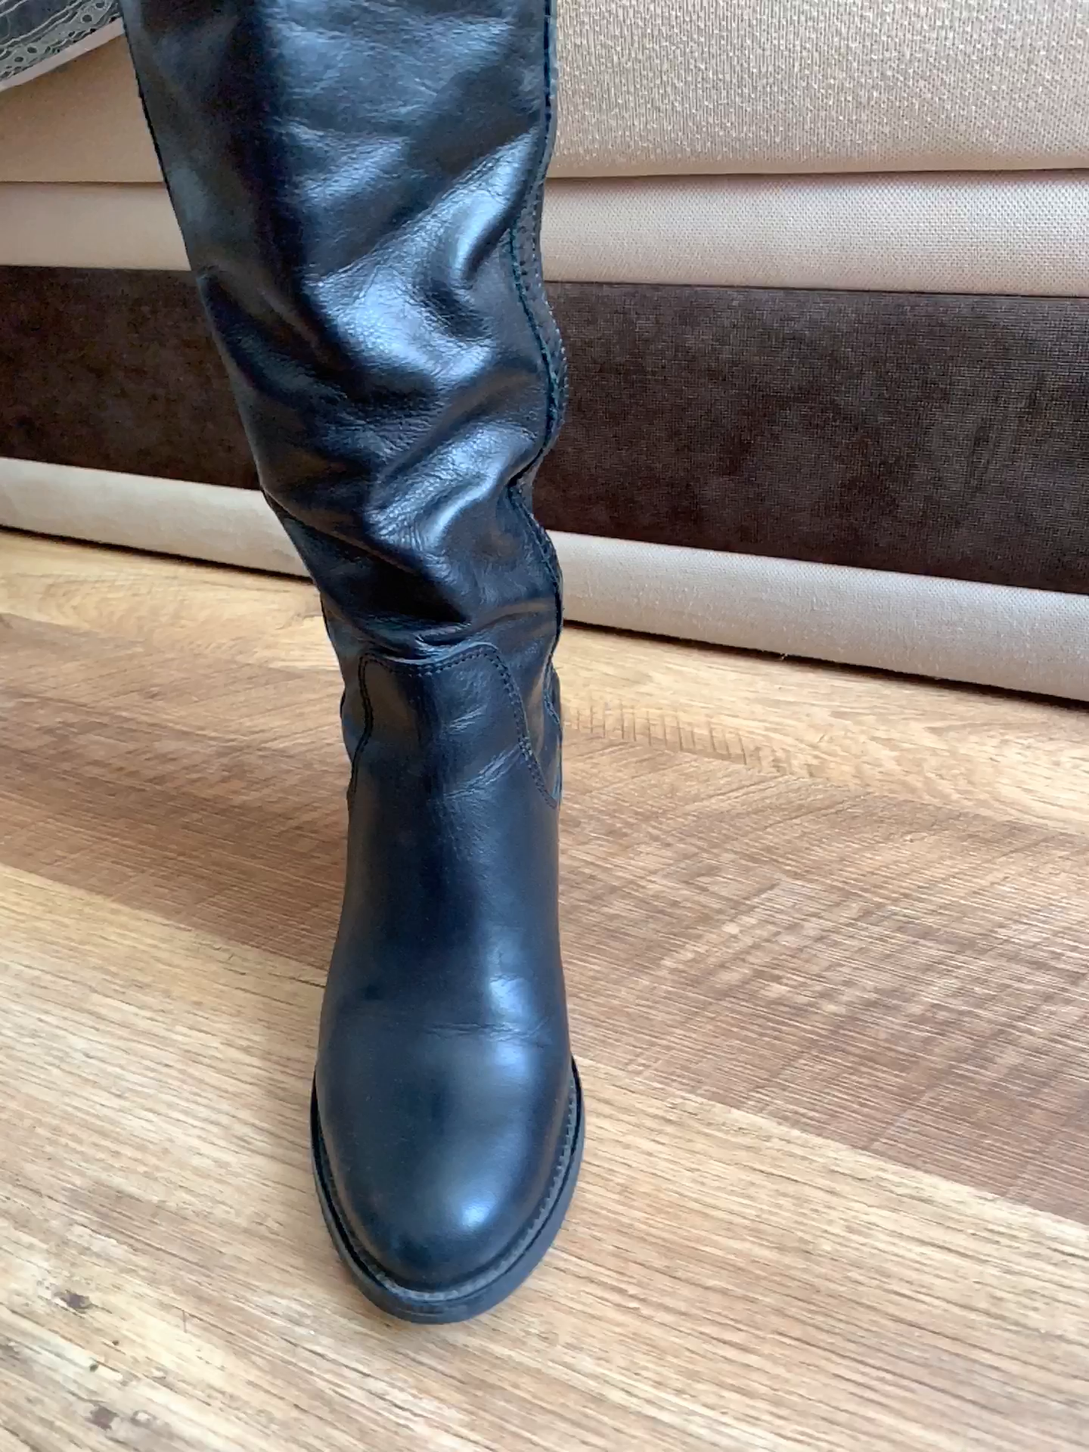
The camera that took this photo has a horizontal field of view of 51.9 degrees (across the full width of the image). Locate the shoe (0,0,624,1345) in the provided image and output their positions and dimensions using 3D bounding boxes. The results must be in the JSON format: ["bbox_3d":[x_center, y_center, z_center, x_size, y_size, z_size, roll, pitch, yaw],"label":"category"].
[{"bbox_3d":[-0.040,-0.113,0.243,0.100,0.497,0.211,-2,31,3],"label":"shoe"}]
